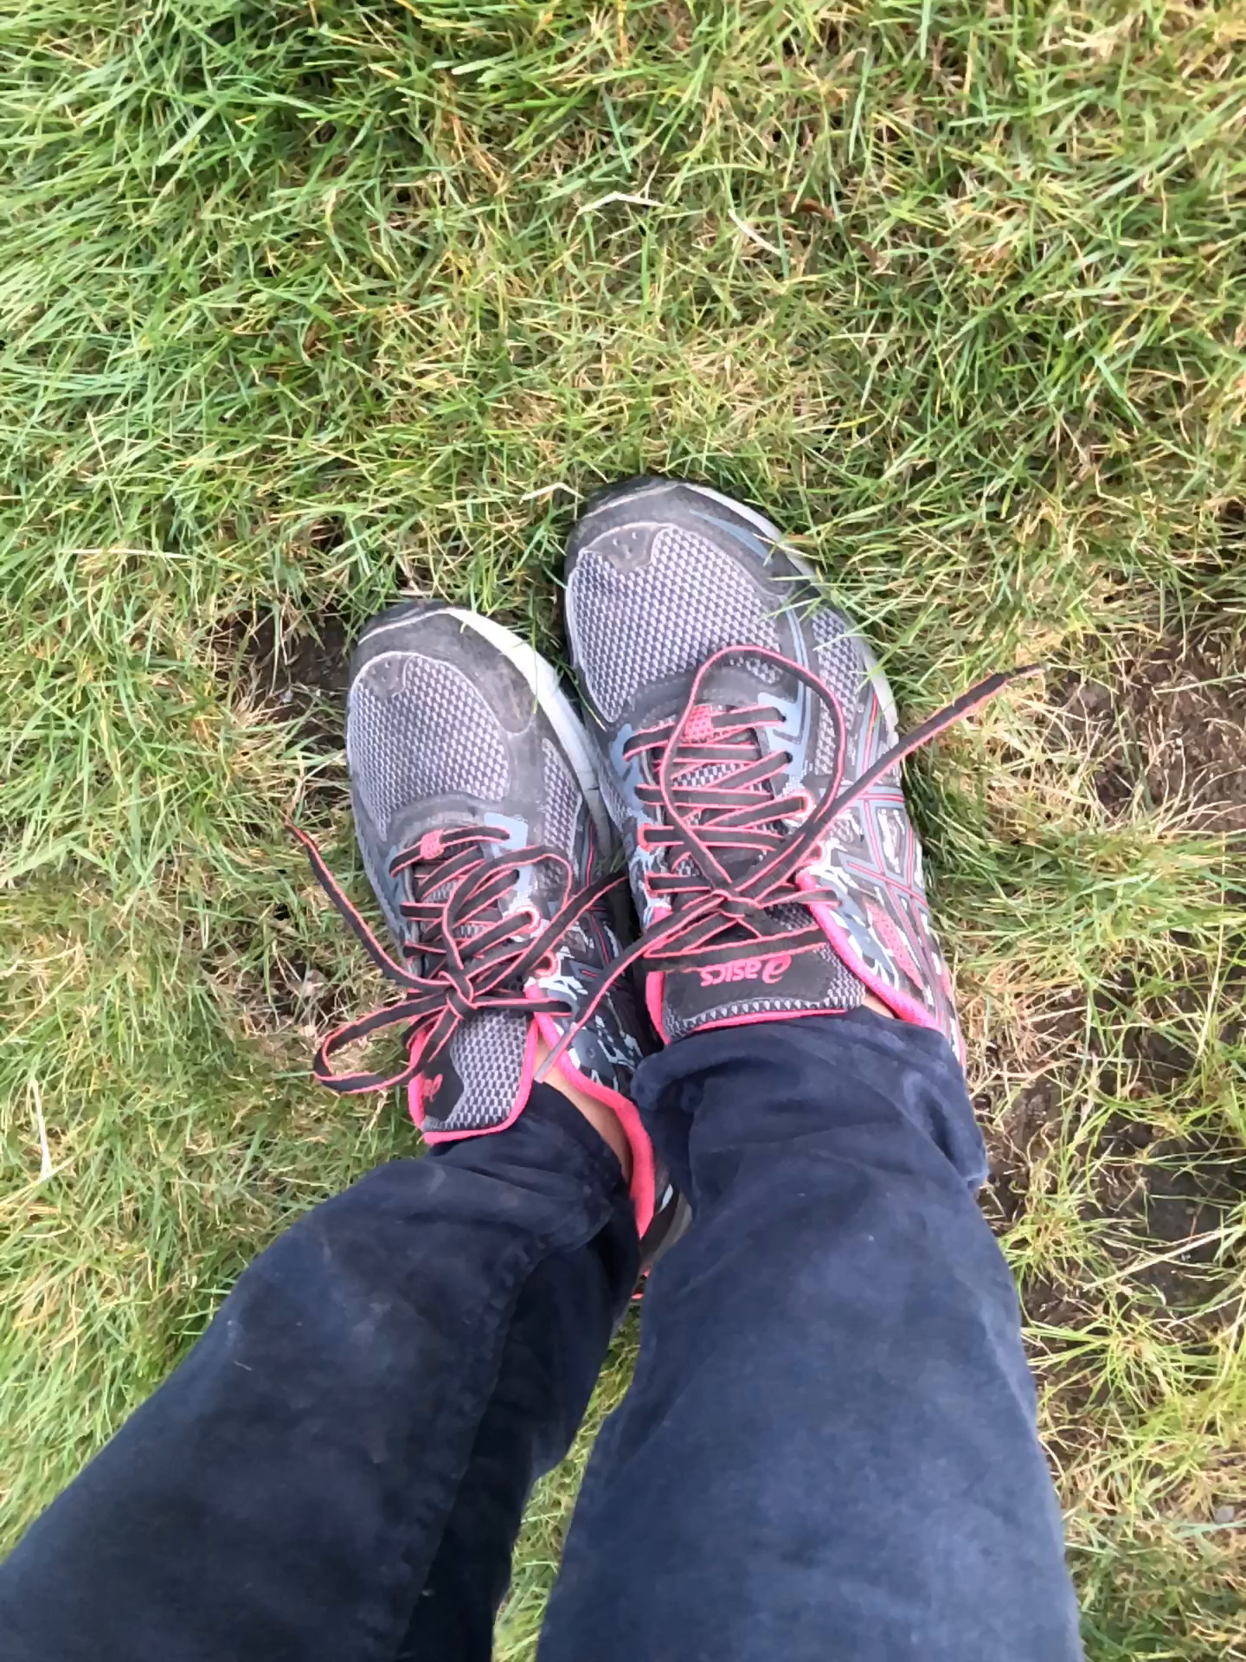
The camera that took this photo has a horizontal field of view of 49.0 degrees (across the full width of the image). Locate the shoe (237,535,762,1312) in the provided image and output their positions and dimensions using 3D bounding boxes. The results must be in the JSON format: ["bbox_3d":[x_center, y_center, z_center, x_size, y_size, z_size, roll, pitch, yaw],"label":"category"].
[{"bbox_3d":[-0.035,0.028,0.500,0.088,0.120,0.245,-14,94,20],"label":"shoe"}]

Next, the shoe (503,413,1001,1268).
[{"bbox_3d":[0.054,0.000,0.472,0.090,0.120,0.250,-14,97,17],"label":"shoe"}]
